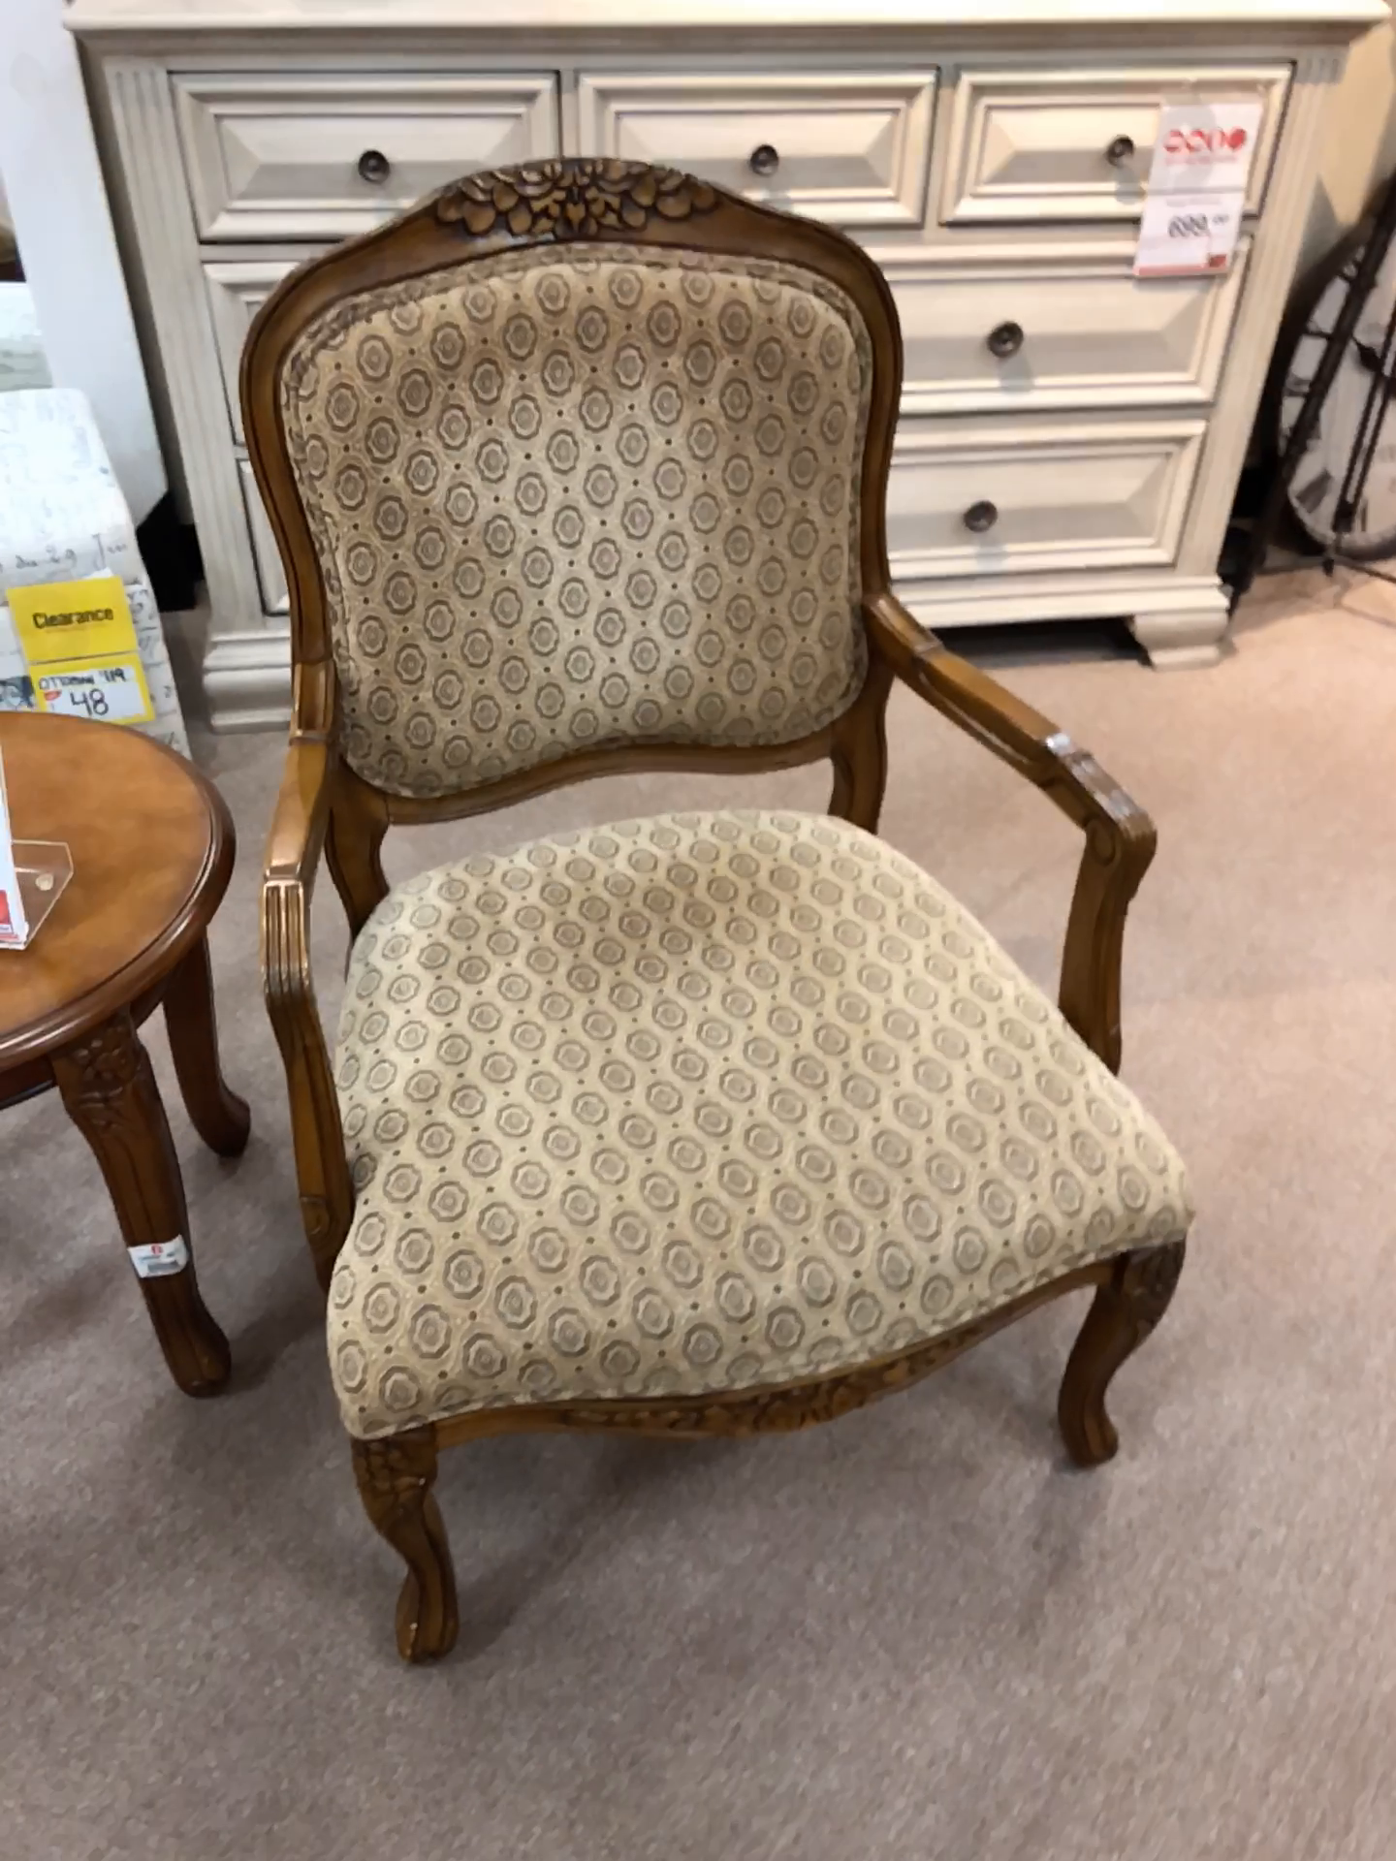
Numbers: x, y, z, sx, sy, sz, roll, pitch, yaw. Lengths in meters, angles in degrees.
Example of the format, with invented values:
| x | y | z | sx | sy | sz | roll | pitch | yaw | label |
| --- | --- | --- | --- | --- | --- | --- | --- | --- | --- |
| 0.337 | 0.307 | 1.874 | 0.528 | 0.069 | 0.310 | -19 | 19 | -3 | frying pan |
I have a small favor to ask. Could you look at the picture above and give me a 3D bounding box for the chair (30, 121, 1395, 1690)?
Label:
| x | y | z | sx | sy | sz | roll | pitch | yaw | label |
| --- | --- | --- | --- | --- | --- | --- | --- | --- | --- |
| -0.026 | -0.025 | 1.351 | 0.780 | 1.063 | 0.704 | -10 | 41 | -13 | chair |
